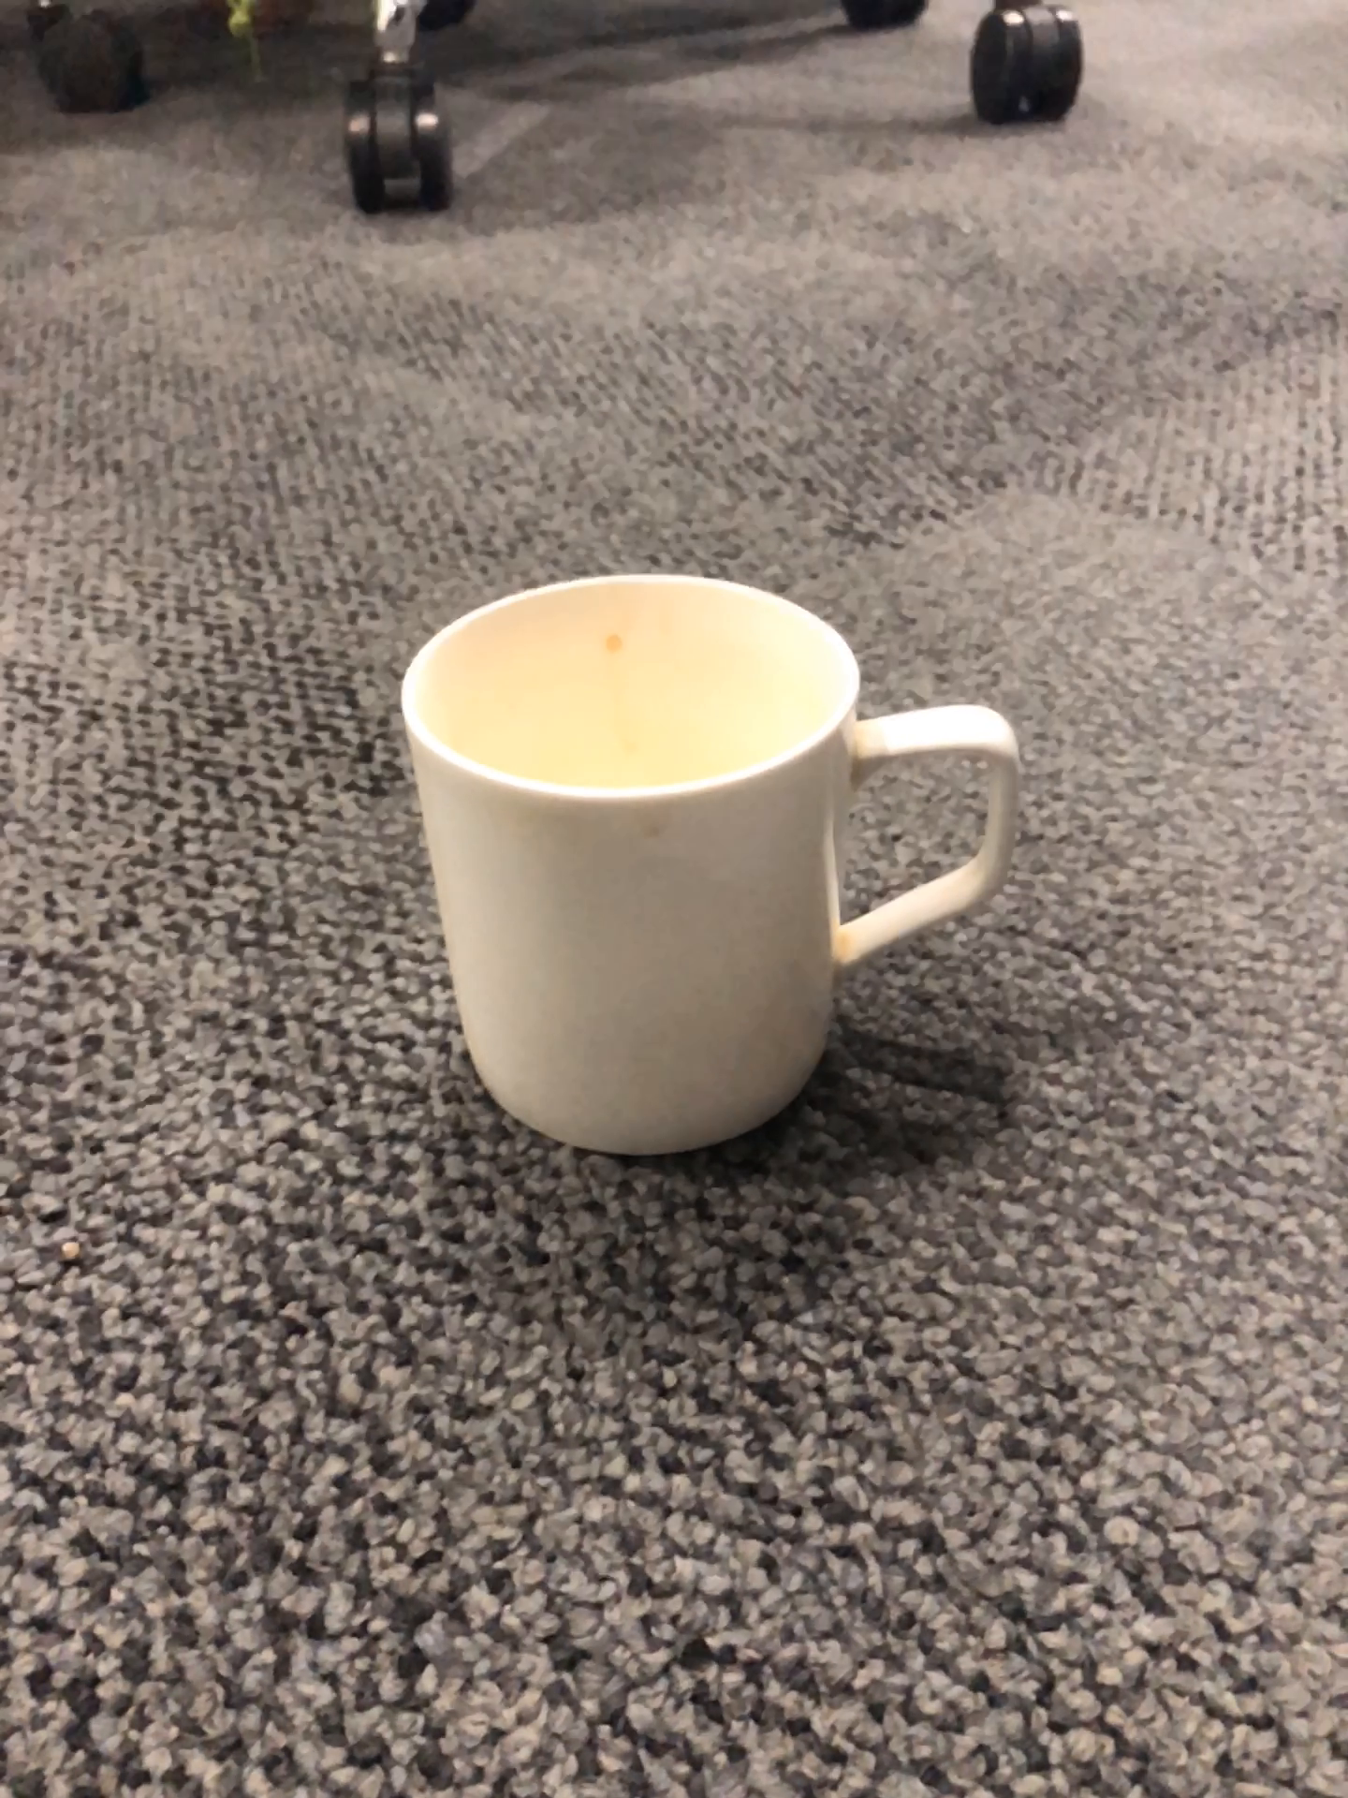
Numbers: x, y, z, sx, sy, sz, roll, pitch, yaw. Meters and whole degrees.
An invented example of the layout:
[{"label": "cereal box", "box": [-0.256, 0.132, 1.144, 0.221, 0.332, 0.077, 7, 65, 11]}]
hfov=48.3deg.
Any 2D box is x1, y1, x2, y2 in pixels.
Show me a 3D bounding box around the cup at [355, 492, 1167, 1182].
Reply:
[{"label": "cup", "box": [0.009, -0.012, 0.232, 0.100, 0.070, 0.070, -6, 37, -4]}]
